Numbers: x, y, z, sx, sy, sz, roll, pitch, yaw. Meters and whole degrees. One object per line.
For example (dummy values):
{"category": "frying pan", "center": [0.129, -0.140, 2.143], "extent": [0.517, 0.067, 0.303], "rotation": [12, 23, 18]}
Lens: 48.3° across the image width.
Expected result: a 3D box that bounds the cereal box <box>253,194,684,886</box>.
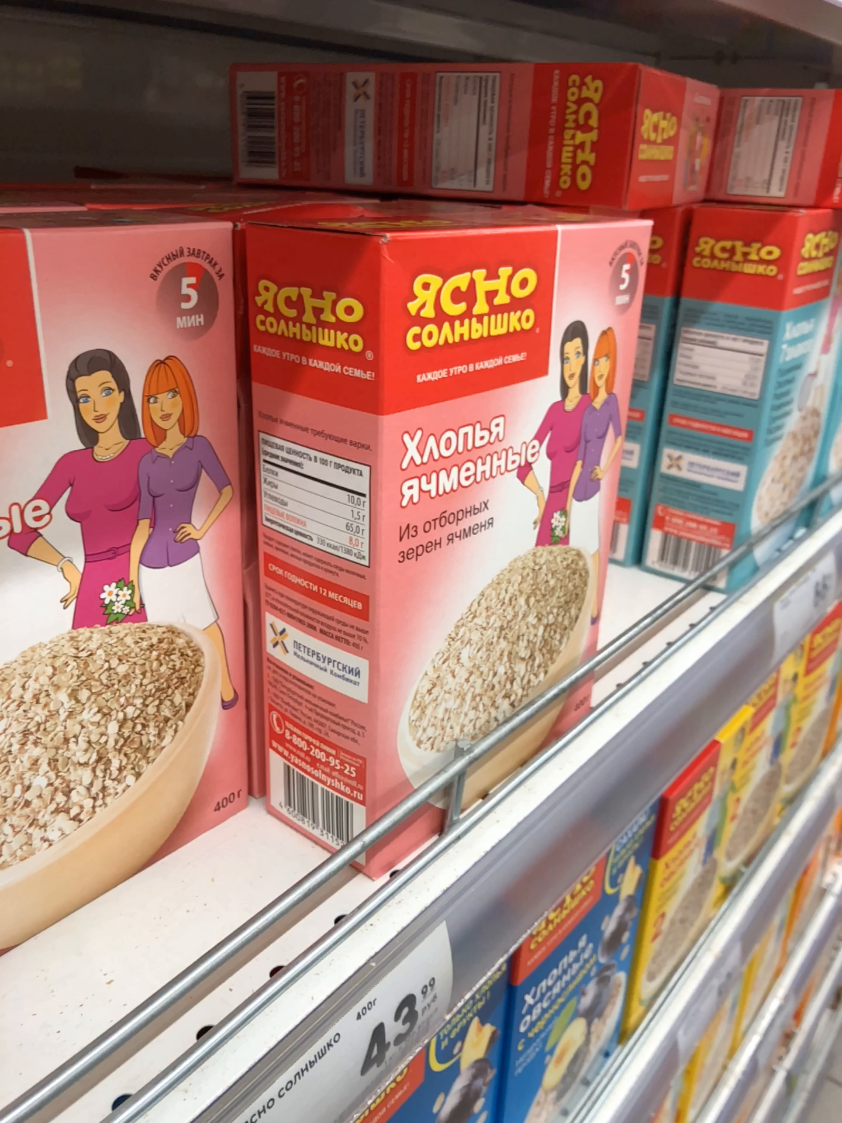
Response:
{"category": "cereal box", "center": [0.019, -0.017, 0.309], "extent": [0.050, 0.189, 0.140], "rotation": [20, 29, 35]}
